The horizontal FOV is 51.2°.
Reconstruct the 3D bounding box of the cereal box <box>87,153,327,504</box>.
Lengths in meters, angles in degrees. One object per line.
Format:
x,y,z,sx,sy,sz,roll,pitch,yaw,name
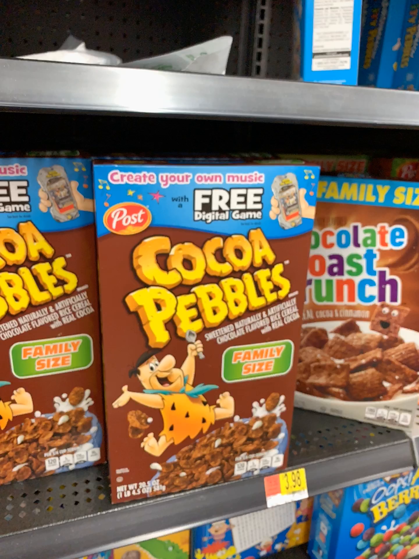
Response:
-0.009,0.049,0.433,0.200,0.329,0.060,-4,20,-17,cereal box
